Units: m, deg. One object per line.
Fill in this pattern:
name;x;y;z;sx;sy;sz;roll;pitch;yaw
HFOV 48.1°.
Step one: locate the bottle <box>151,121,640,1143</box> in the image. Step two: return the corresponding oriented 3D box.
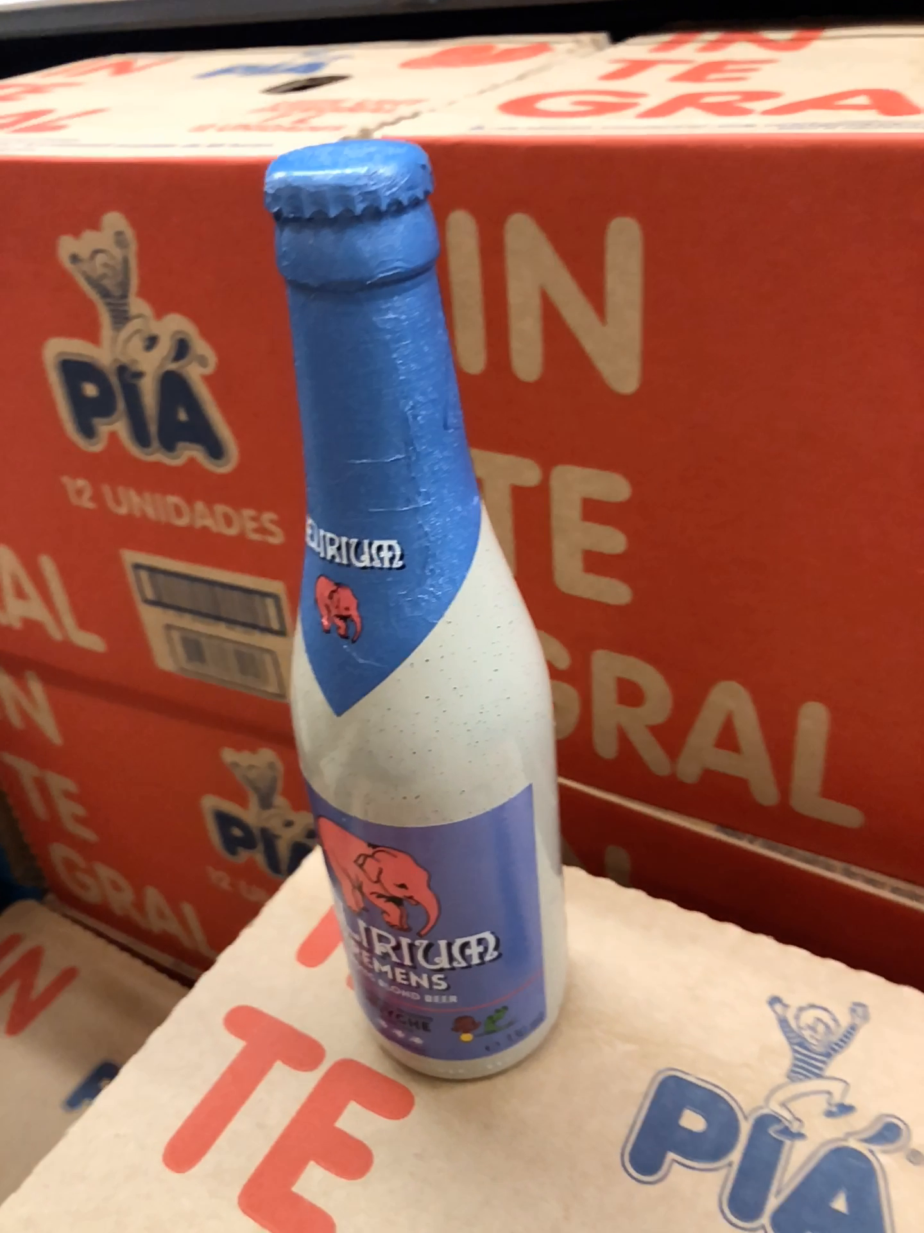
bottle;-0.003;0.013;0.233;0.060;0.218;0.060;-3;31;2
